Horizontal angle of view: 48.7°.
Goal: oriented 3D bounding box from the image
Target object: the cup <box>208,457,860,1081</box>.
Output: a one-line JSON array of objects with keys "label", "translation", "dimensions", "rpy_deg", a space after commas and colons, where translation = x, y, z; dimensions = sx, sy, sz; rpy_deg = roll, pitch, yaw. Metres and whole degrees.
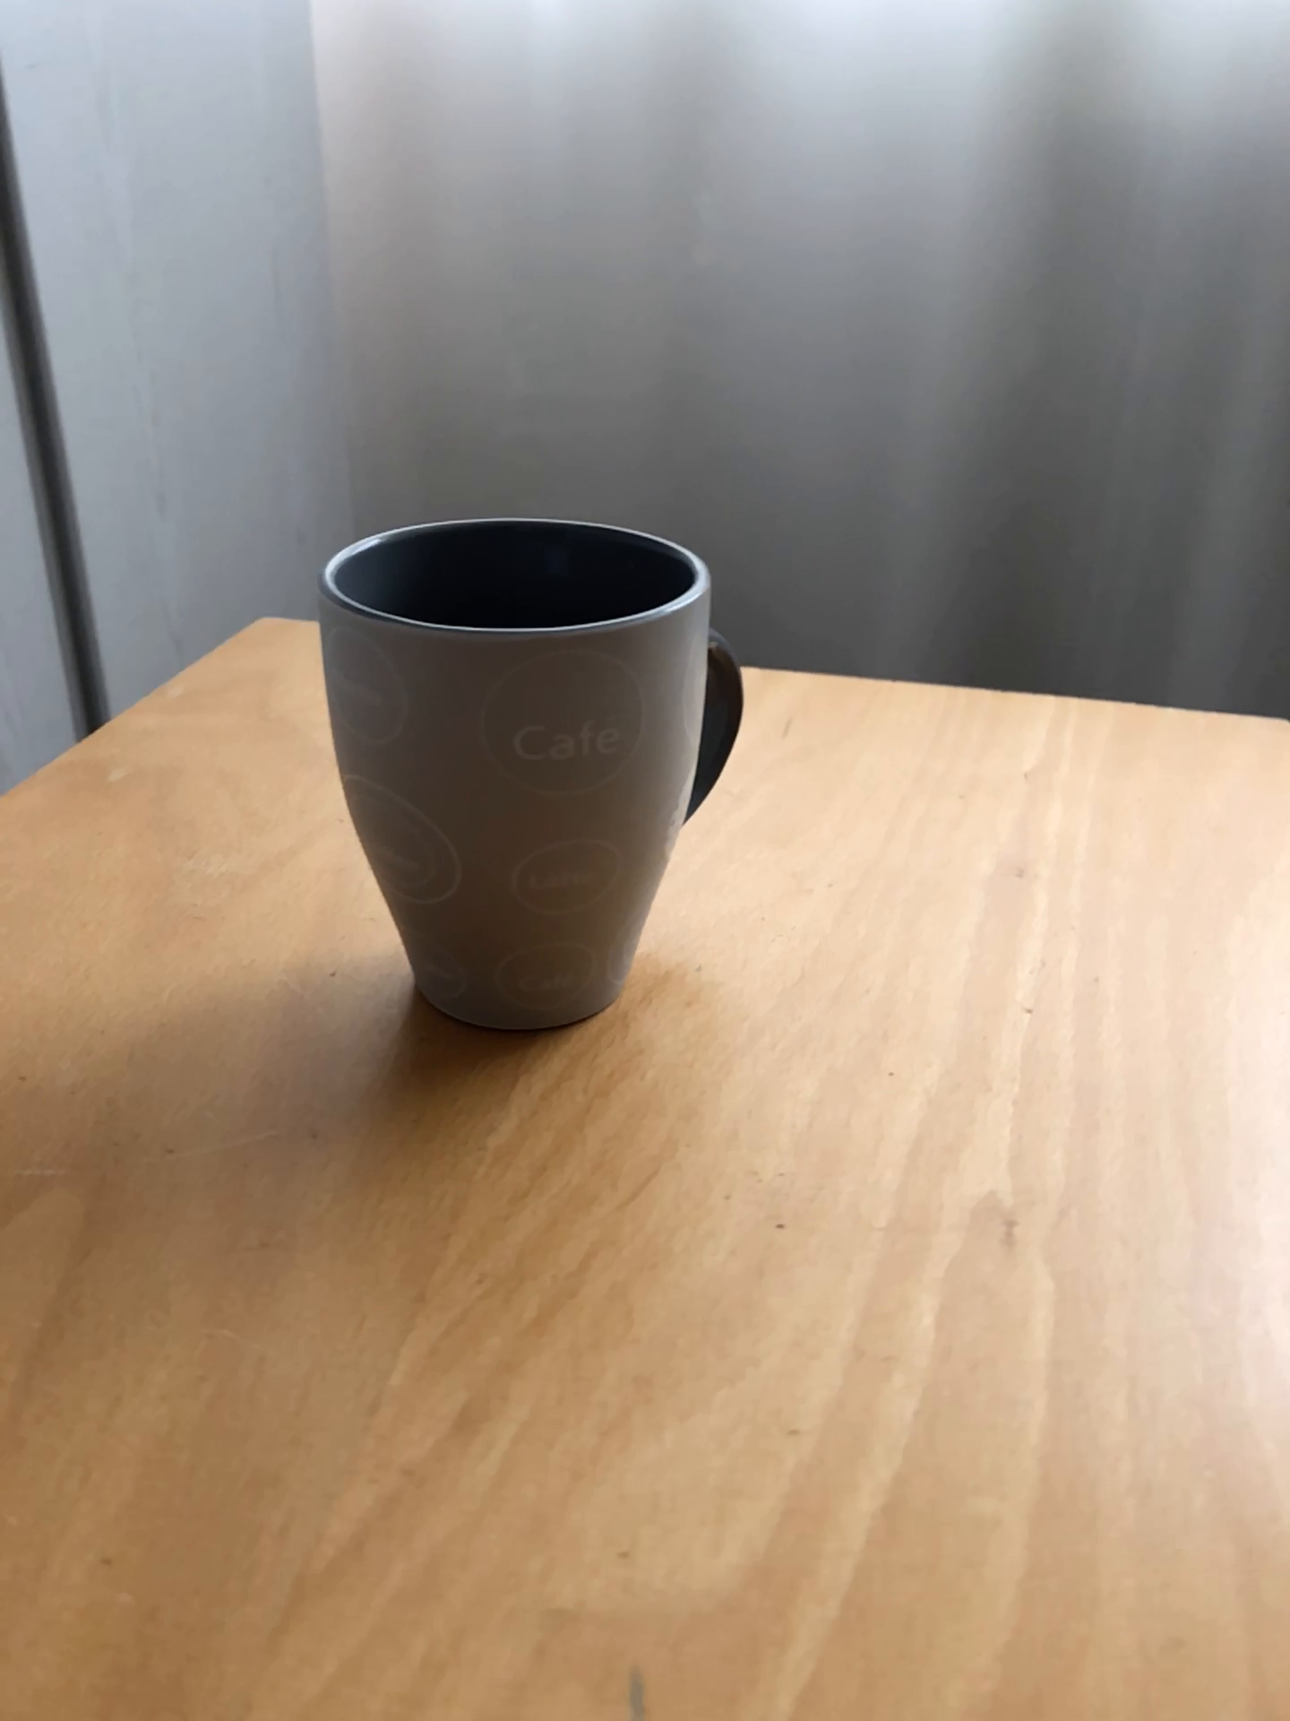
[{"label": "cup", "translation": [-0.019, -0.032, 0.336], "dimensions": [0.085, 0.093, 0.127], "rpy_deg": [18, 32, 29]}]
